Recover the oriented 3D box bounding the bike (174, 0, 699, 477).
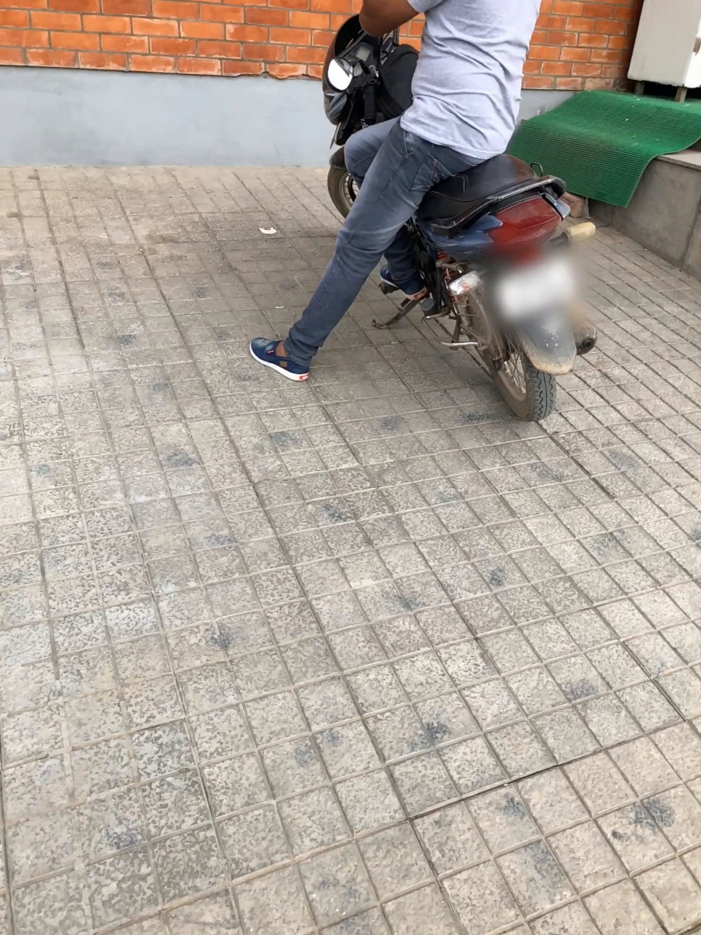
[{"bbox_3d":[0.036,-1.120,2.711,0.813,1.344,1.828,-9,37,-21],"label":"bike"}]
